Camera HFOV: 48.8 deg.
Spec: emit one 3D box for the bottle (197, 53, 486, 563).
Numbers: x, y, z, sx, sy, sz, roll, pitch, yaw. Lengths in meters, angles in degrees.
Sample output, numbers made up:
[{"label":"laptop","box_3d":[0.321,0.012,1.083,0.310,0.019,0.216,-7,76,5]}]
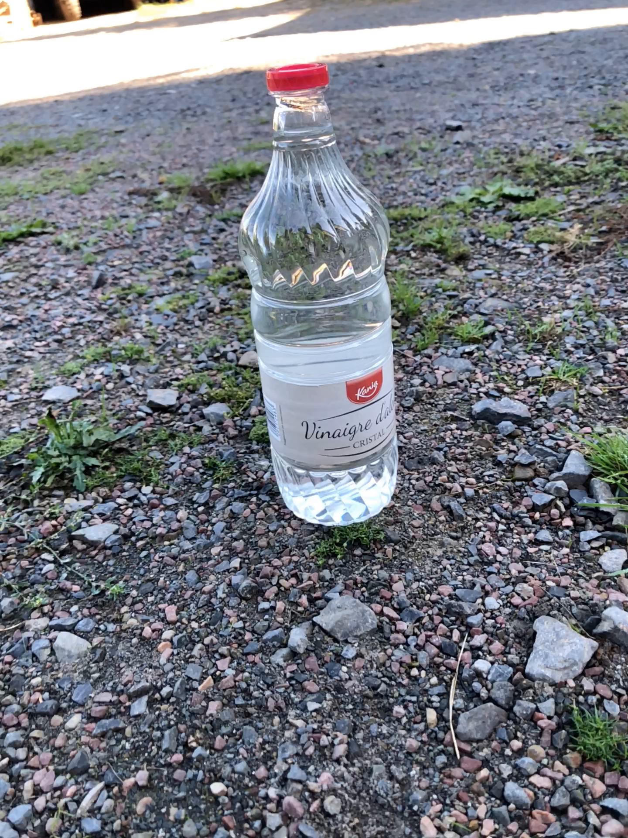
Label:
[{"label":"bottle","box_3d":[0.020,-0.061,0.392,0.100,0.249,0.100,-4,30,2]}]
